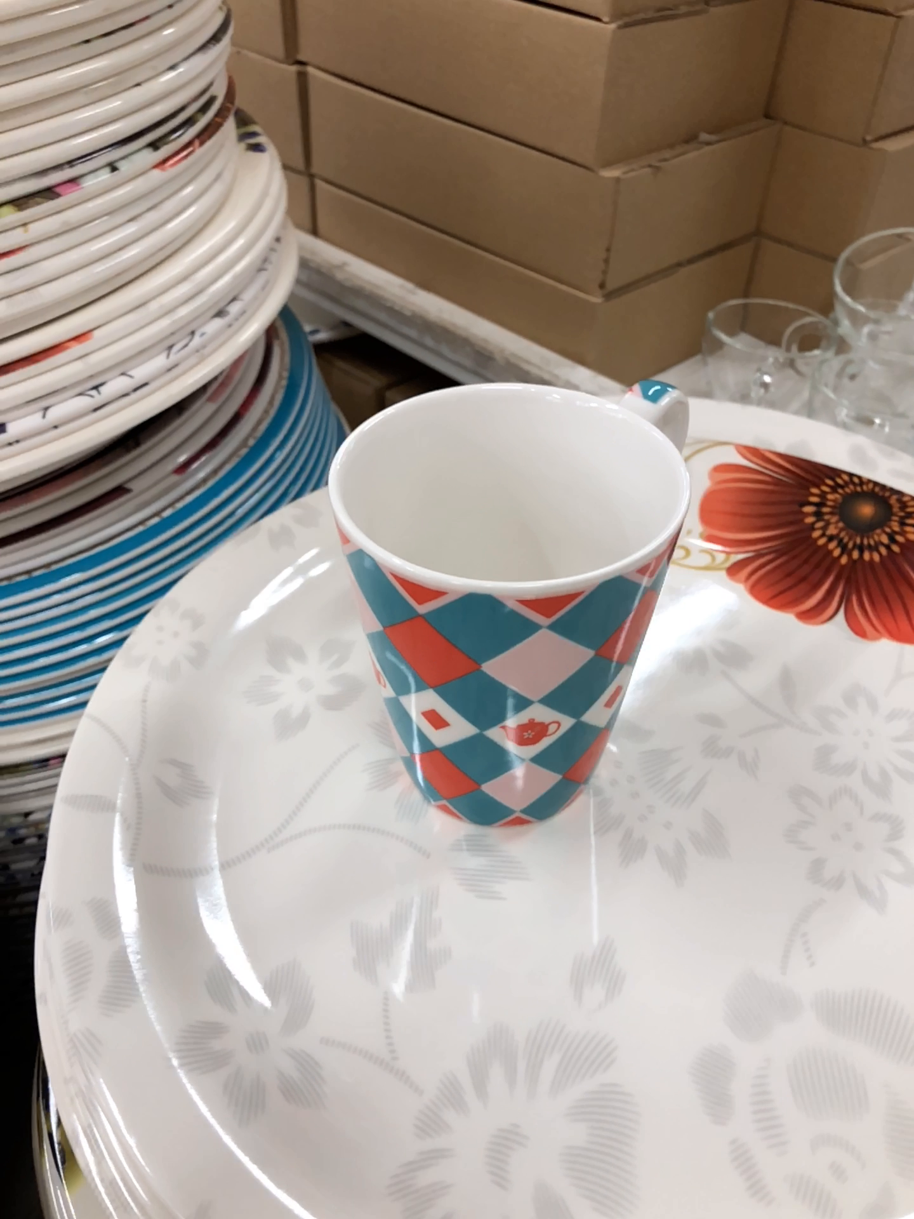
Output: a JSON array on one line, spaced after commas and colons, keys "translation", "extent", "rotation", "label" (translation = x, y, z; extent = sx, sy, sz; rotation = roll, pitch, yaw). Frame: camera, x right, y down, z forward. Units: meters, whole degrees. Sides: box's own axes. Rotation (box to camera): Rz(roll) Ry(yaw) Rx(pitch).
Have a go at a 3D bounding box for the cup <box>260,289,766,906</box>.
[{"translation": [0.021, -0.011, 0.290], "extent": [0.080, 0.099, 0.131], "rotation": [20, 44, 20], "label": "cup"}]
